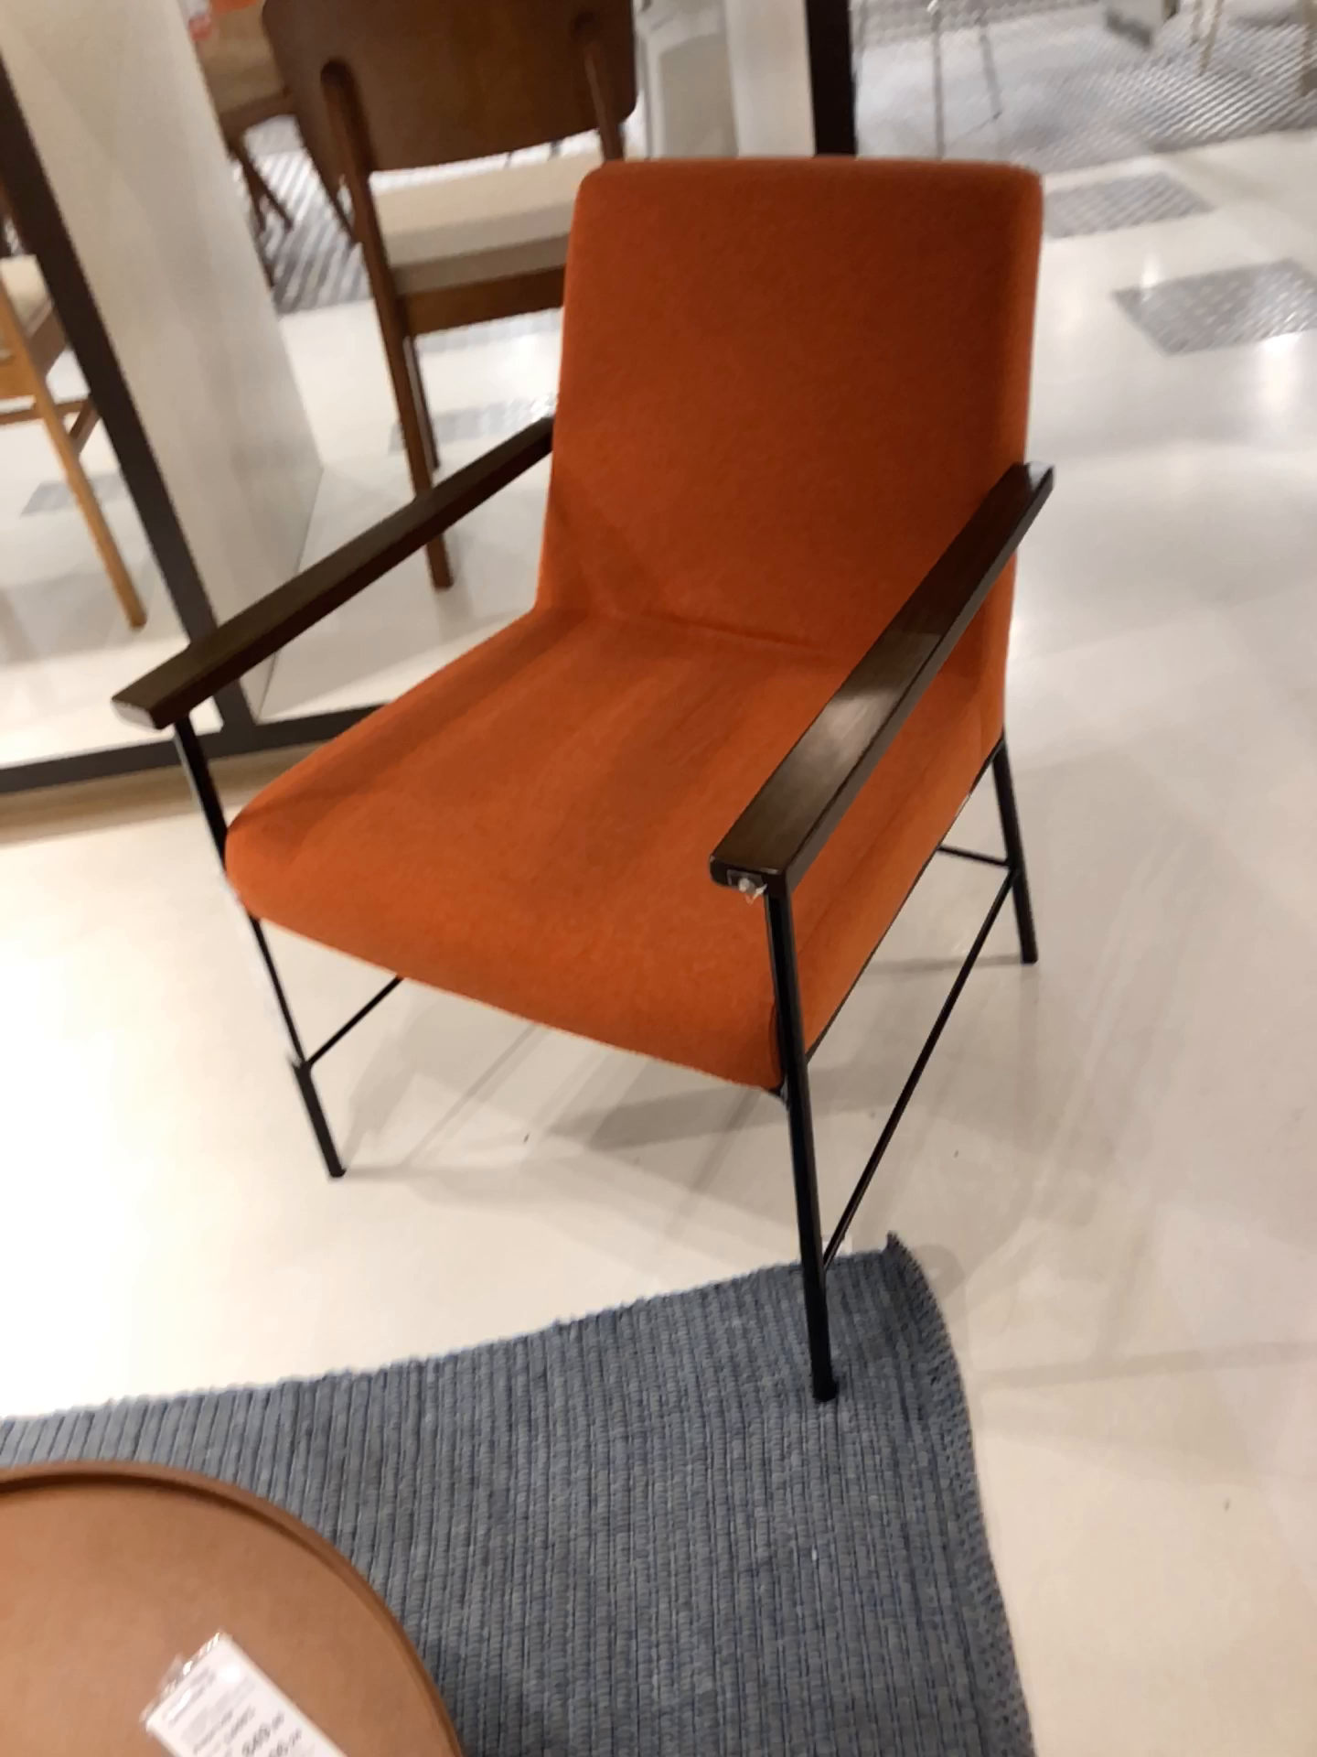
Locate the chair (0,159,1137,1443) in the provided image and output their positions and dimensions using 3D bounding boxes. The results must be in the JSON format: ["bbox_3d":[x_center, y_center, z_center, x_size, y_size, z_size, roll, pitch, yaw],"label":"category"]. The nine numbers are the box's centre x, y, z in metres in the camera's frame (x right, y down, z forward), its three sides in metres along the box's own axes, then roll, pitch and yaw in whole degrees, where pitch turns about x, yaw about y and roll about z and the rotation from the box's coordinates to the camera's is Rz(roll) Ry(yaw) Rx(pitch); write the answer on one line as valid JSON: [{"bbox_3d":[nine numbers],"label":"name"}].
[{"bbox_3d":[-0.012,-0.122,1.353,0.651,0.824,0.704,16,46,29],"label":"chair"}]
